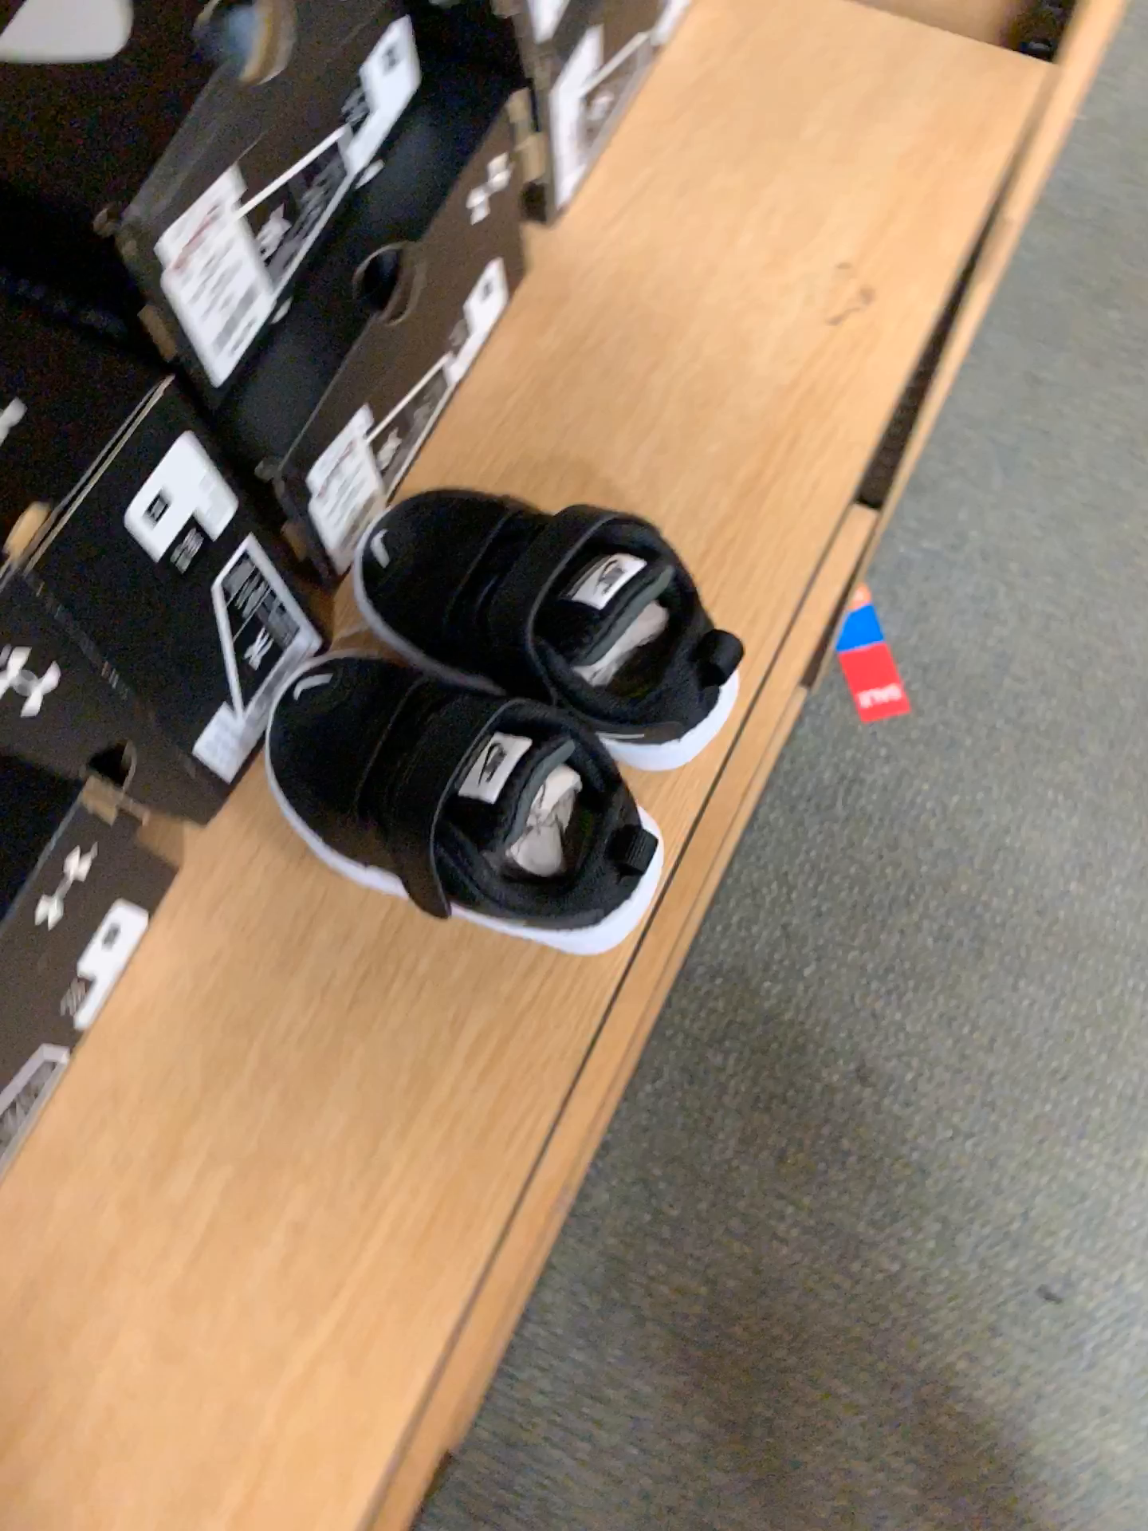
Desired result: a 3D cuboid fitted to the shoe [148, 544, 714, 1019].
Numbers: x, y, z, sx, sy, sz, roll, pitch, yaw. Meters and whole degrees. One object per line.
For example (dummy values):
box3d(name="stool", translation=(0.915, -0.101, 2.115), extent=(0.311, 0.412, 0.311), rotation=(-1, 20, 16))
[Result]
box3d(name="shoe", translation=(-0.039, 0.006, 0.354), extent=(0.140, 0.060, 0.070), rotation=(28, 76, 11))

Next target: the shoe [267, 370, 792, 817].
box3d(name="shoe", translation=(-0.013, -0.054, 0.381), extent=(0.140, 0.060, 0.070), rotation=(28, 76, 11))
